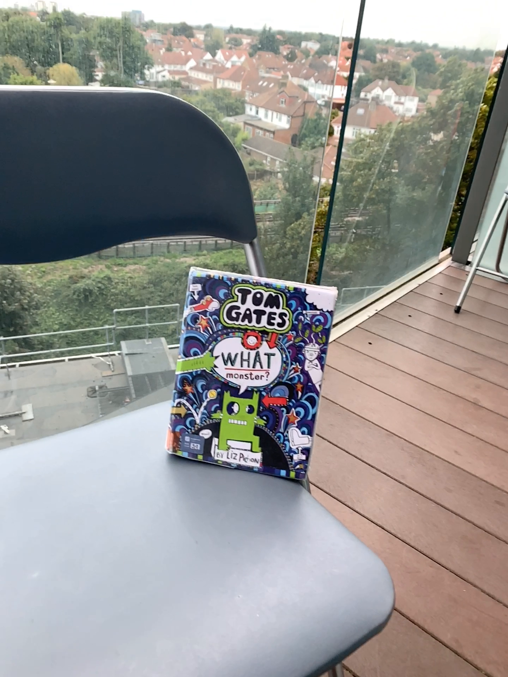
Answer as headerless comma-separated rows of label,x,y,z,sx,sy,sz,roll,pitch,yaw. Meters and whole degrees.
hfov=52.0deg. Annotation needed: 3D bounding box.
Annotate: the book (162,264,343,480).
book,-0.003,0.032,0.551,0.160,0.199,0.050,9,9,6
